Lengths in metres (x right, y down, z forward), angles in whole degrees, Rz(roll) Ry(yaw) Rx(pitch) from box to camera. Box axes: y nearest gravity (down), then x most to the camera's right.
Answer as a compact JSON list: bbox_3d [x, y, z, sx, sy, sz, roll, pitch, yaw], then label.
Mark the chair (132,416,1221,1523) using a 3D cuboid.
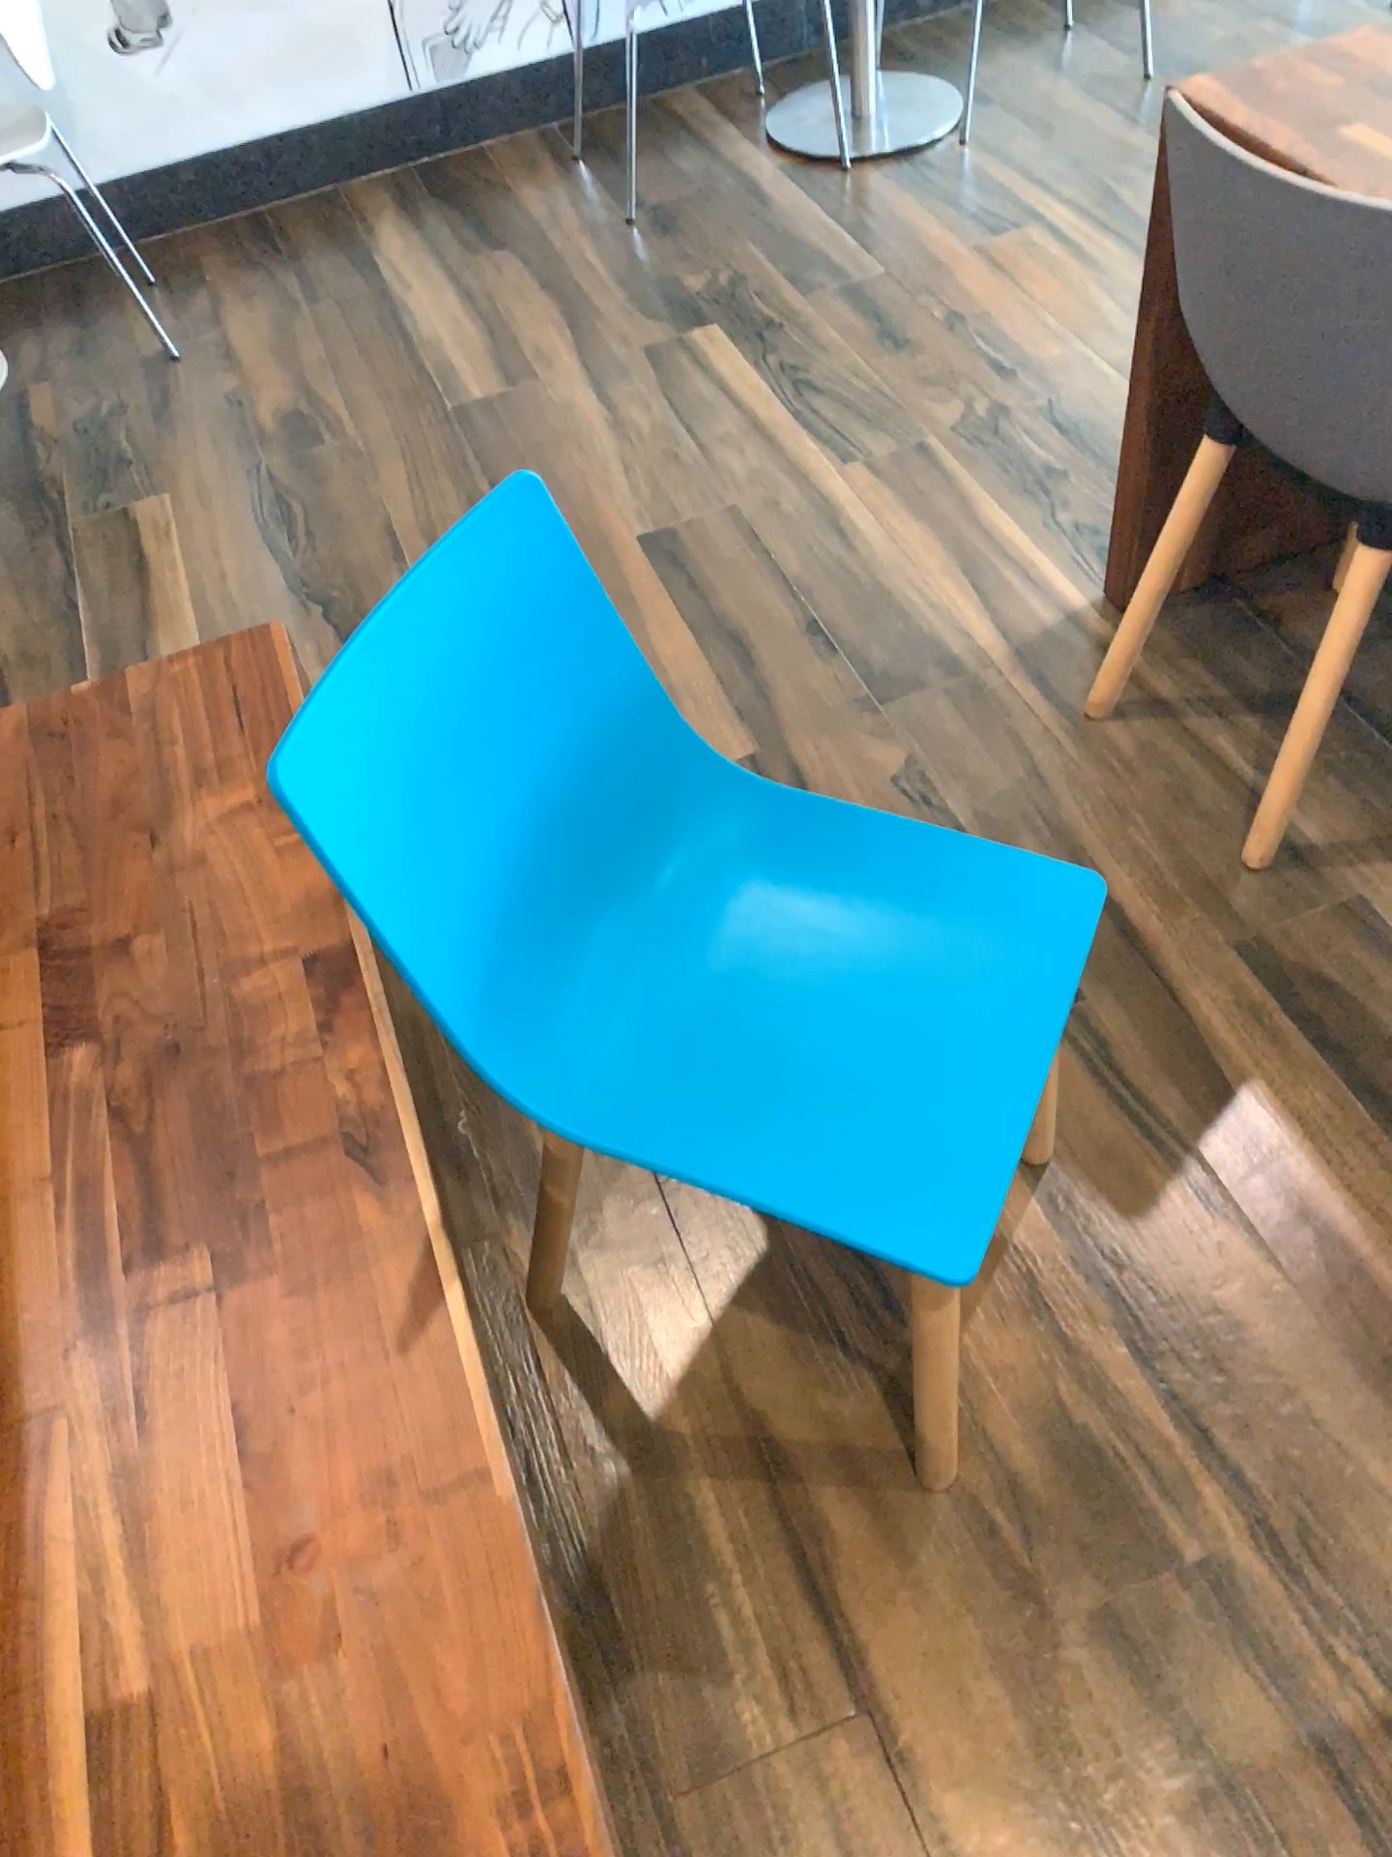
[{"bbox_3d":[0.041,0.037,1.212,0.581,0.665,0.513,16,54,21],"label":"chair"}]
